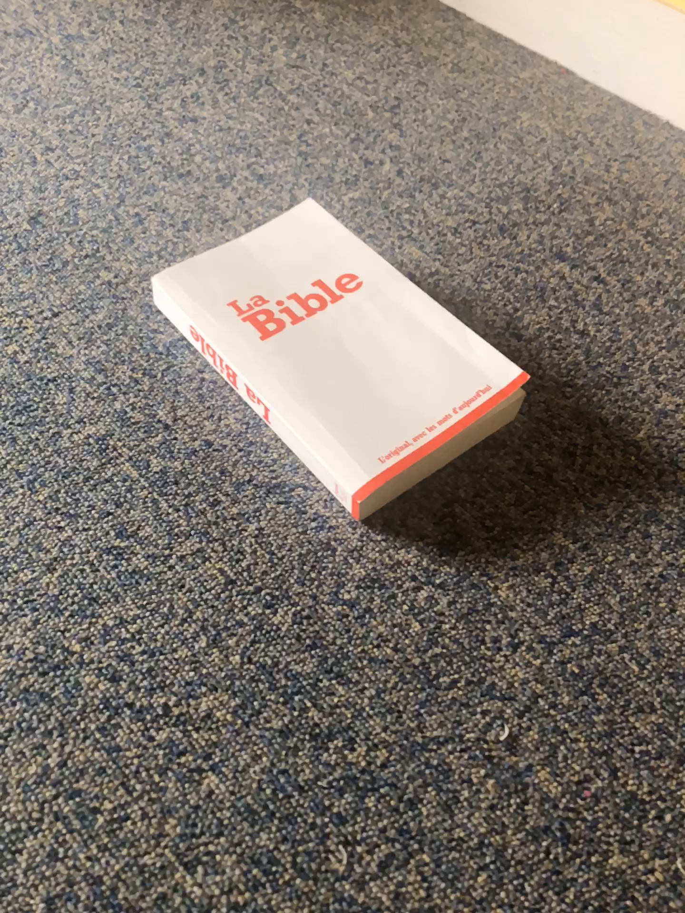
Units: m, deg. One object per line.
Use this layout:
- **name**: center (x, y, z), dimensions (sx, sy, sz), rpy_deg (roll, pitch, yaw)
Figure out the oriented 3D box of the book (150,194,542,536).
- **book**: center (-0.003, -0.070, 0.471), dimensions (0.134, 0.042, 0.211), rpy_deg (-32, 63, -25)
